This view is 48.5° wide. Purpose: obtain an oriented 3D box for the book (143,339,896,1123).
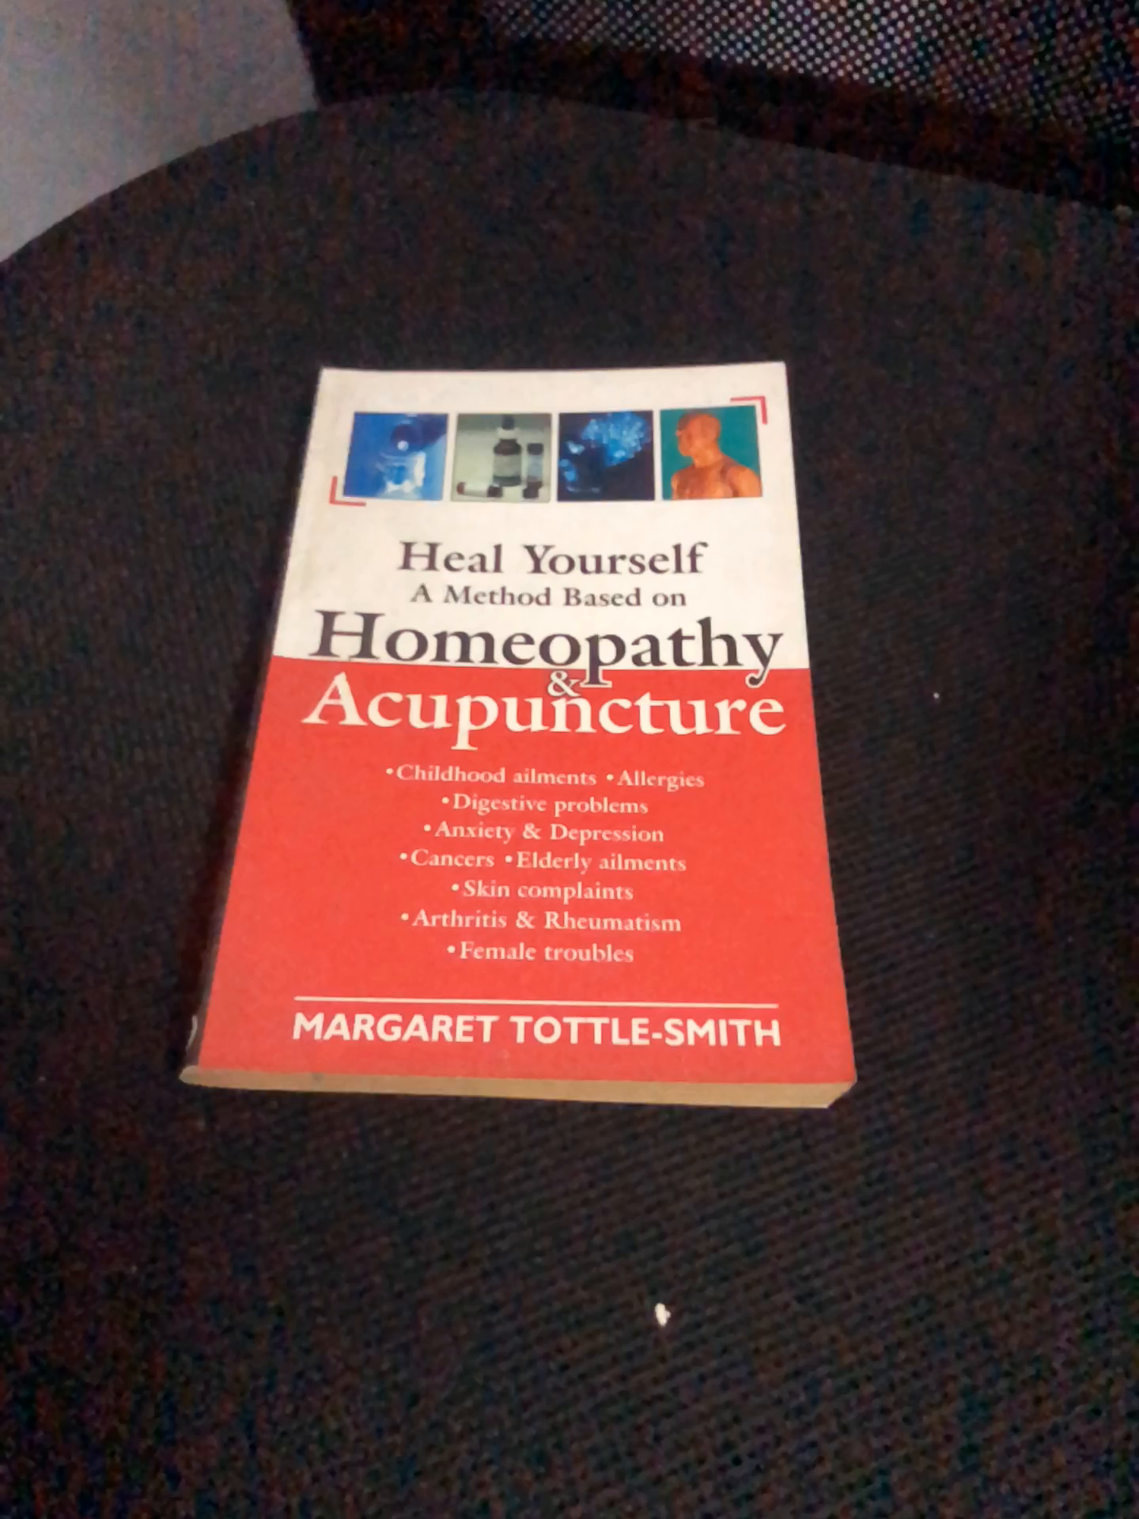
[{"bbox_3d":[-0.006,-0.024,0.319,0.150,0.020,0.221,1,58,2],"label":"book"}]
